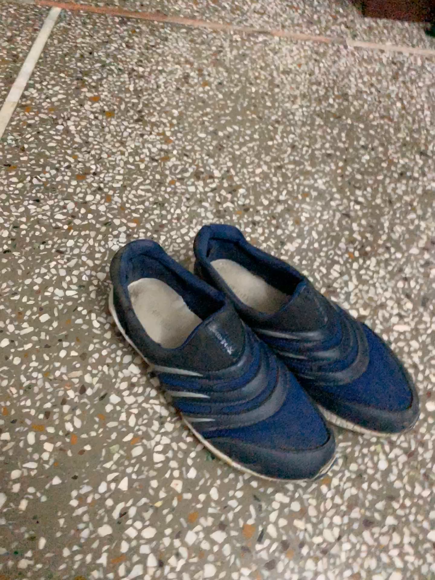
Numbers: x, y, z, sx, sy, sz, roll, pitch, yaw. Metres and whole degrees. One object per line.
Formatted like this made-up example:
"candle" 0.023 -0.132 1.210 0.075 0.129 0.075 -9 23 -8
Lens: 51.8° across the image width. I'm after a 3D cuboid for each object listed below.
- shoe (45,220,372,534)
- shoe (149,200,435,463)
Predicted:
"shoe" -0.019 0.068 0.413 0.284 0.080 0.103 40 62 18
"shoe" 0.070 0.037 0.469 0.280 0.096 0.103 35 61 15
